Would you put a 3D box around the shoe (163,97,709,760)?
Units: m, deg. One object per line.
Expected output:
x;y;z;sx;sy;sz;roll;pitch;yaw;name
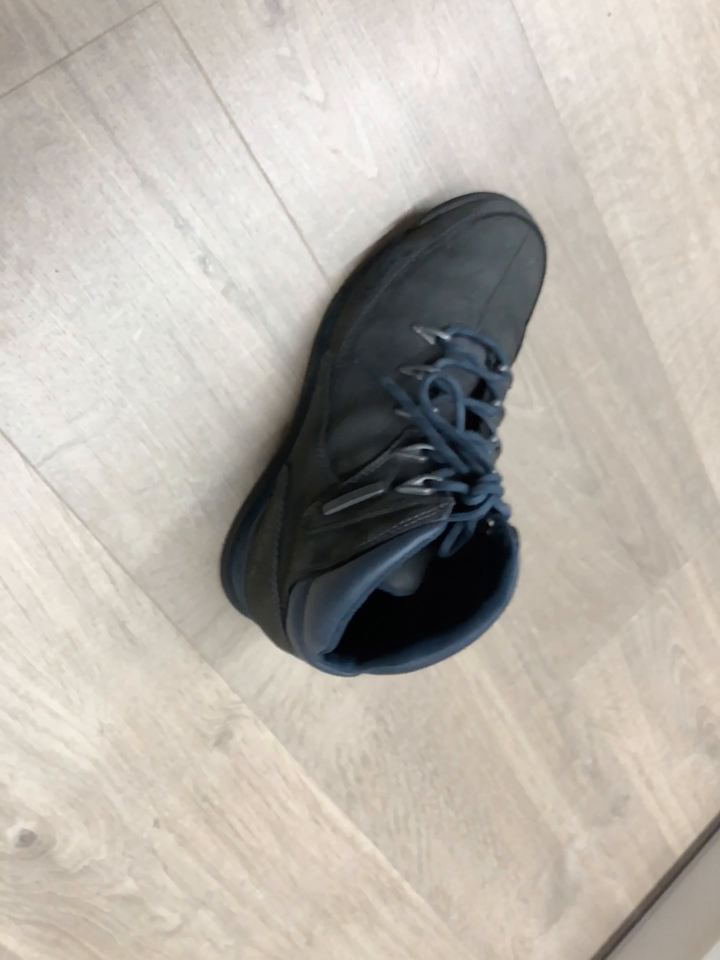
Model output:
0.032;-0.029;0.421;0.110;0.130;0.290;32;87;-30;shoe
